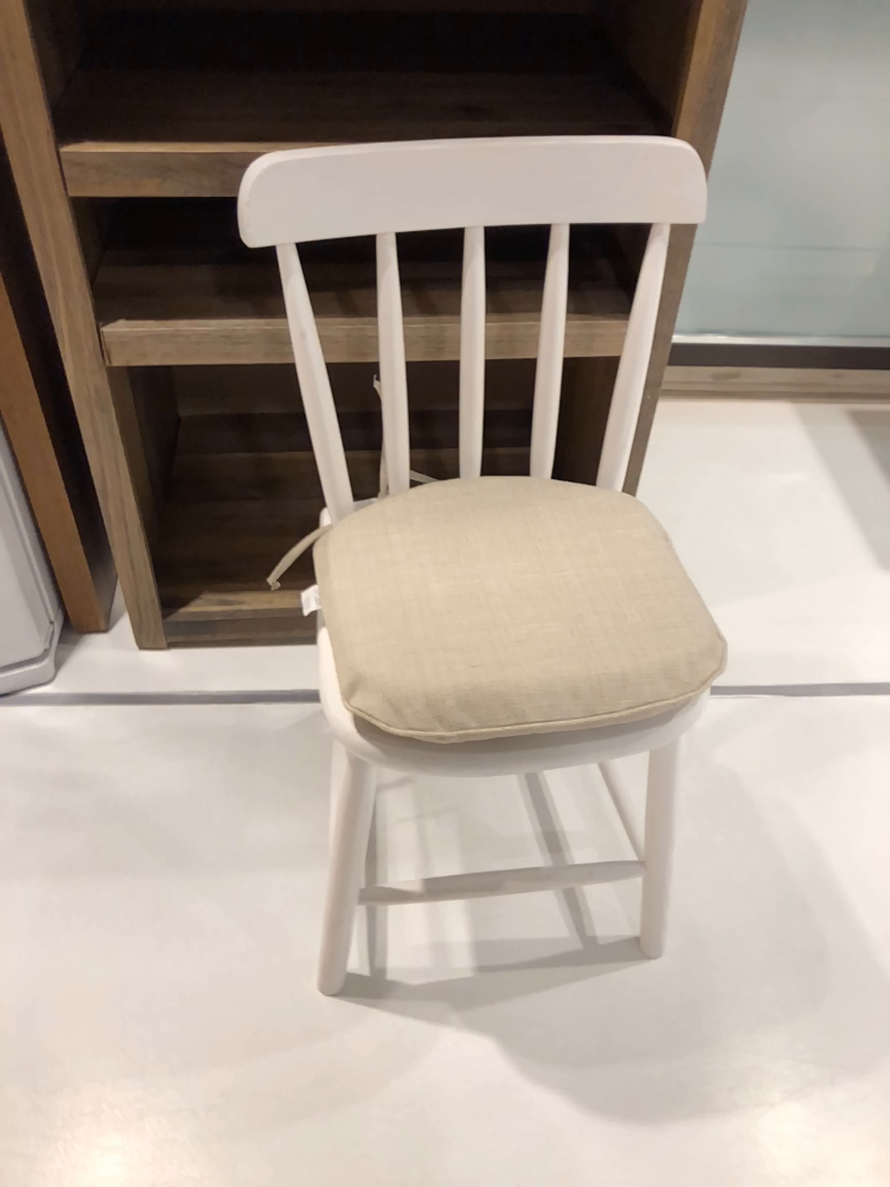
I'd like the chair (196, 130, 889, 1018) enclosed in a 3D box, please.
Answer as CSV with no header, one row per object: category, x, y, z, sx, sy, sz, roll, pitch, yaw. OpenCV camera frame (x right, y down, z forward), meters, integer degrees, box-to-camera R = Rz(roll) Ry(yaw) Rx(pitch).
chair,0.039,0.002,0.978,0.450,0.725,0.483,-4,44,-8
